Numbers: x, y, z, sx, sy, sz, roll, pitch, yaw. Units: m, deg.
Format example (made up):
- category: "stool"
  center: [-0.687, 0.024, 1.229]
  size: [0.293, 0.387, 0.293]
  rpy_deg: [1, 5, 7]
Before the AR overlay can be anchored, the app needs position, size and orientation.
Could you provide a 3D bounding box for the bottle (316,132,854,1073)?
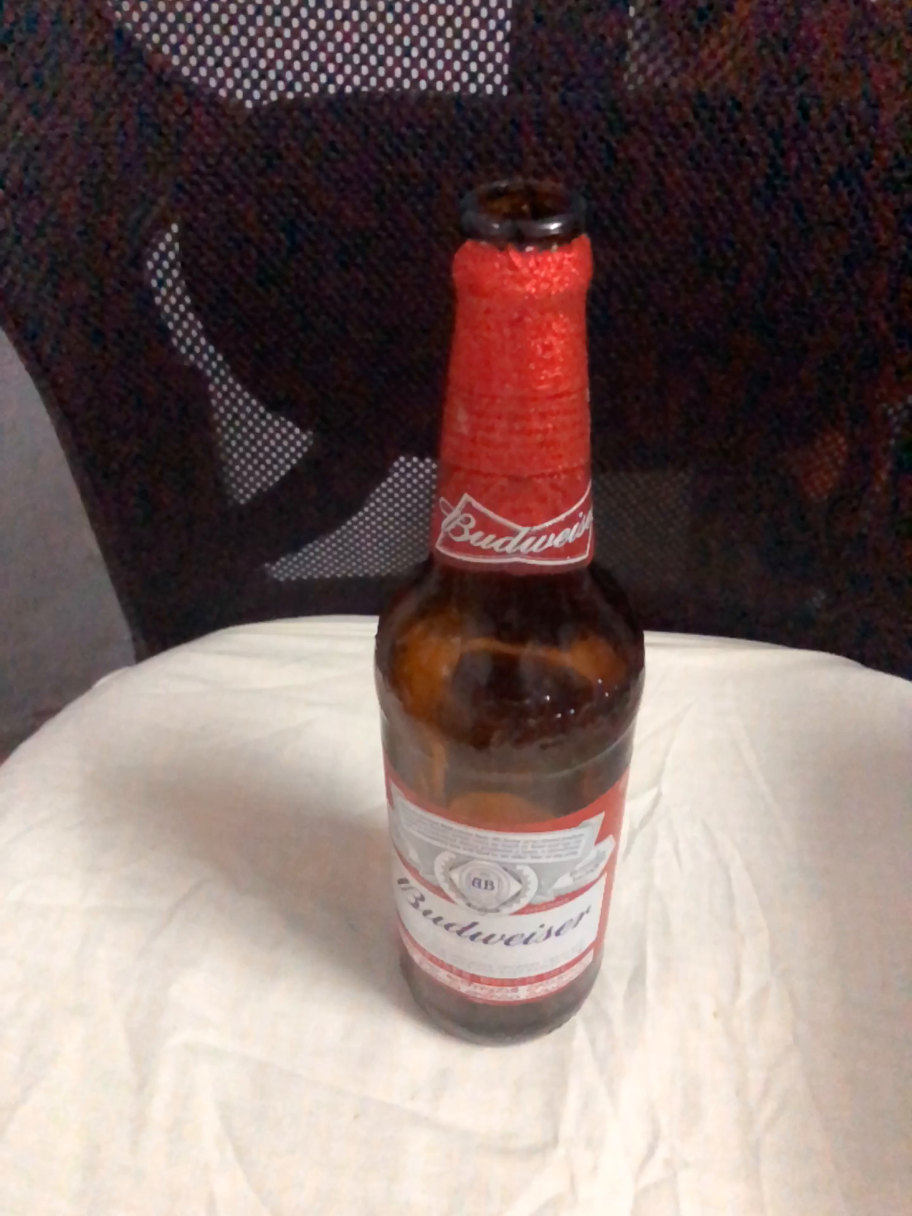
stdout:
- category: "bottle"
  center: [0.018, 0.029, 0.268]
  size: [0.080, 0.269, 0.070]
  rpy_deg: [3, 43, 2]
